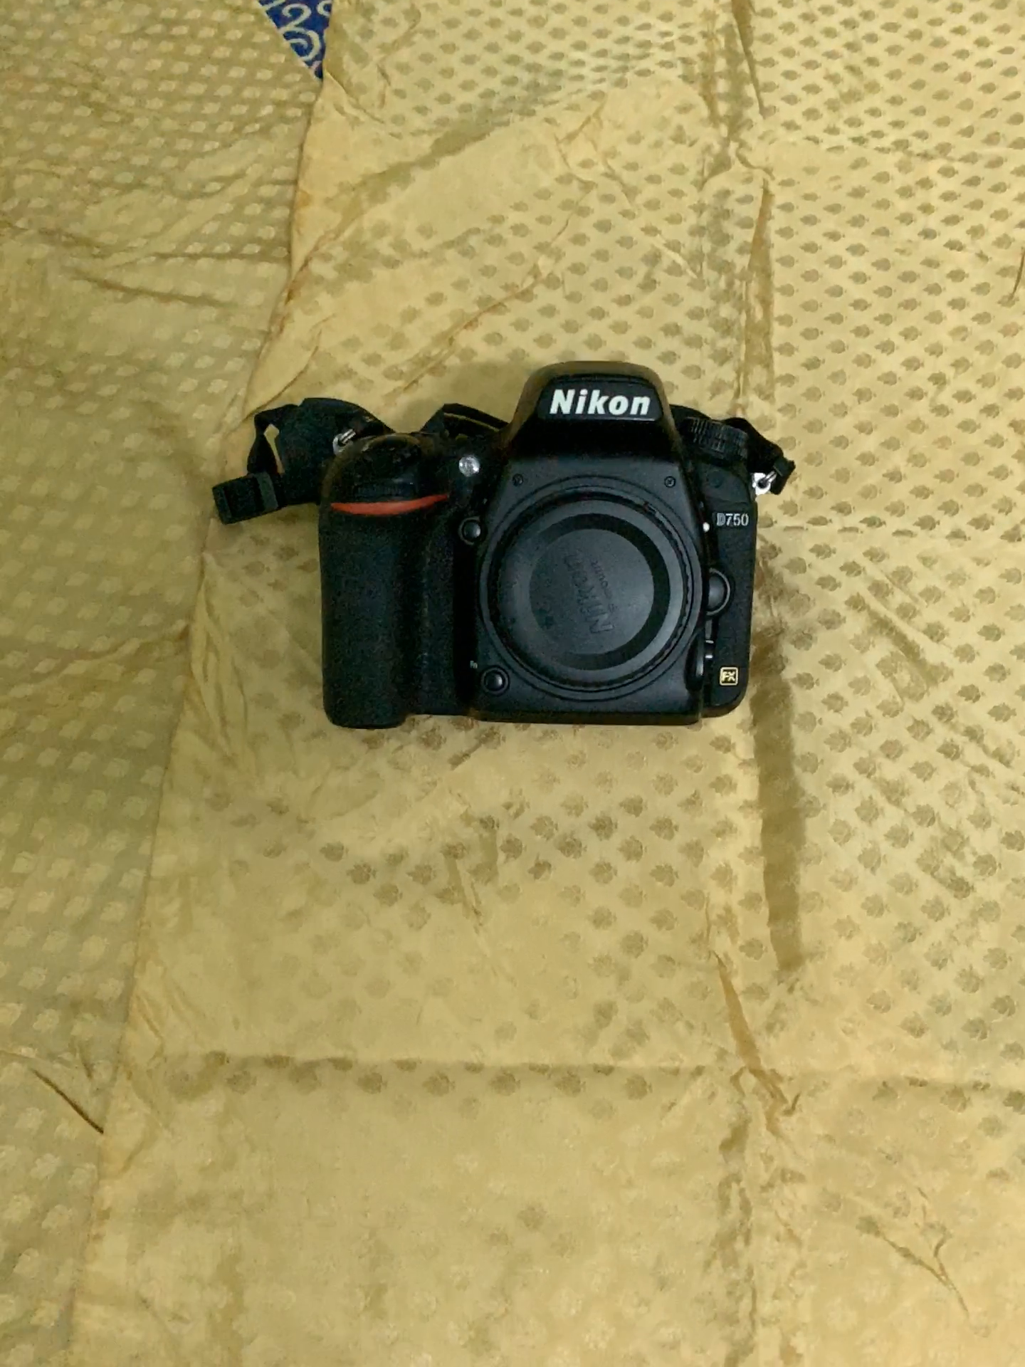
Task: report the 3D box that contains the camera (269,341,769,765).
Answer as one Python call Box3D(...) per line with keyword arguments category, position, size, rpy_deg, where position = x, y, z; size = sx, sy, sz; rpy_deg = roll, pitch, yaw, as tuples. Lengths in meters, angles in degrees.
Box3D(category="camera", position=(0.001, -0.039, 0.319), size=(0.130, 0.073, 0.110), rpy_deg=(1, 99, 0))
